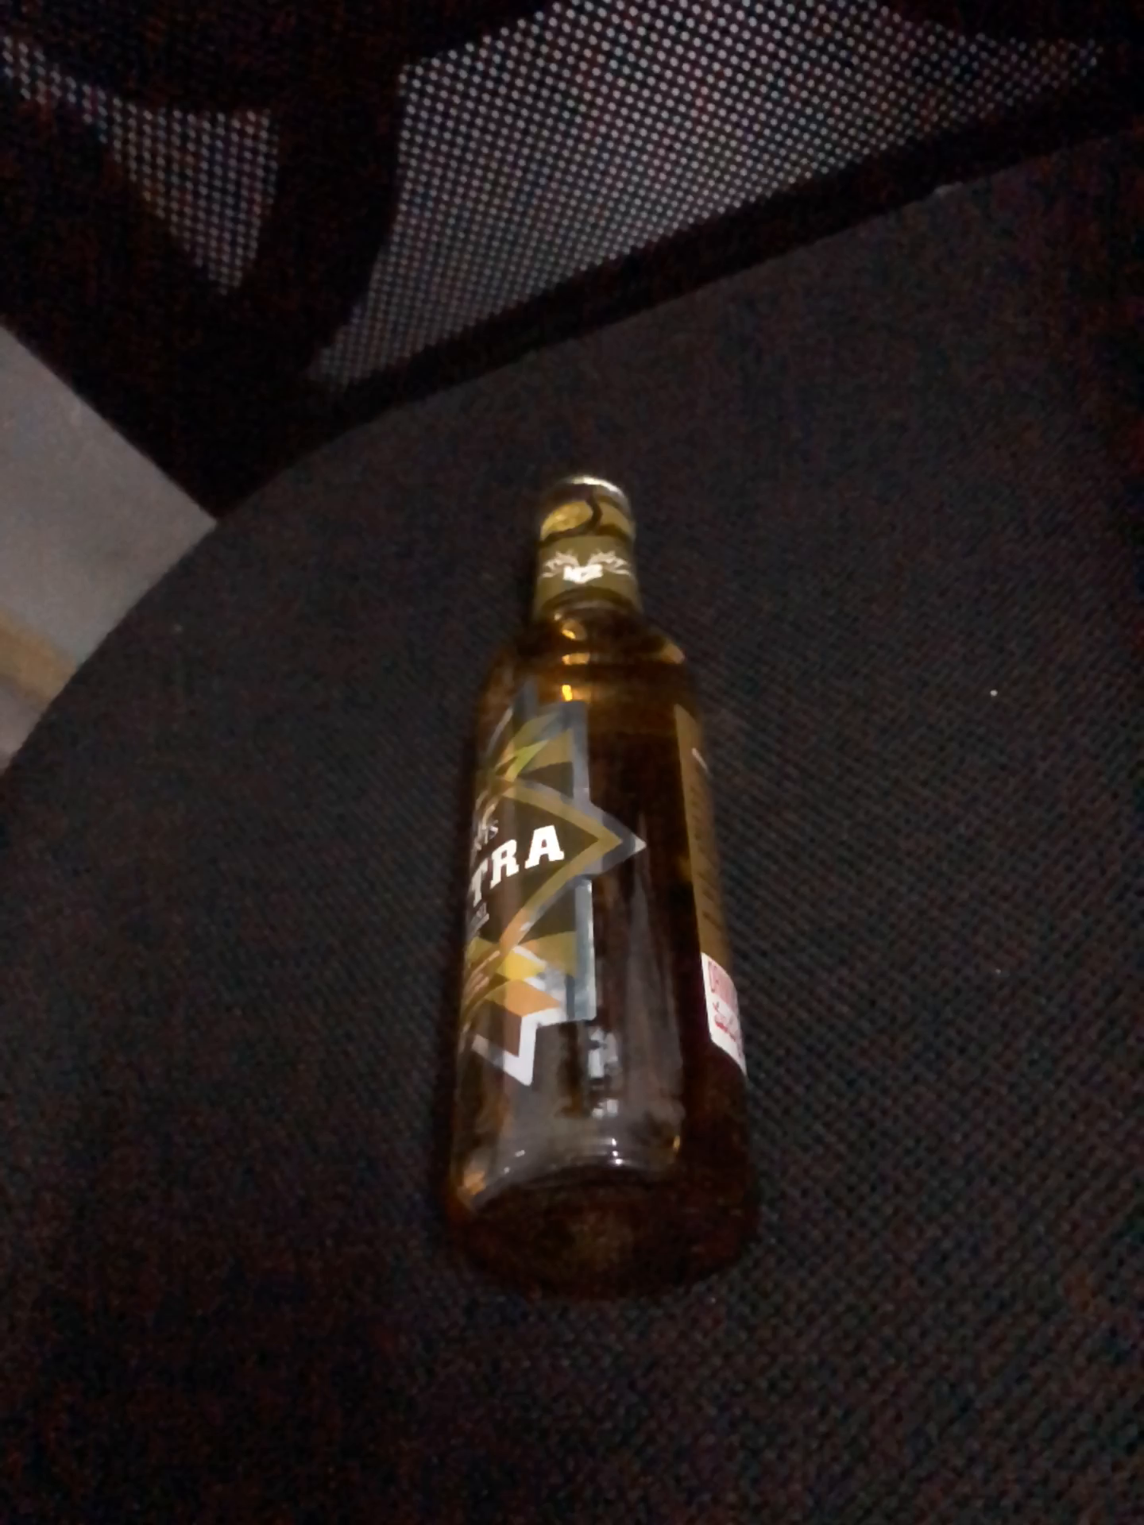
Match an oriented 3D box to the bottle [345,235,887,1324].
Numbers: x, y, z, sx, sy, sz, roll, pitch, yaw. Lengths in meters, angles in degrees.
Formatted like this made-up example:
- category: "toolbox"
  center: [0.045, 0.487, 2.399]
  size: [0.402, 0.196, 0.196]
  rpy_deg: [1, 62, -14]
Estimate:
- category: "bottle"
  center: [0.001, -0.010, 0.281]
  size: [0.070, 0.060, 0.231]
  rpy_deg: [-24, 50, 25]
